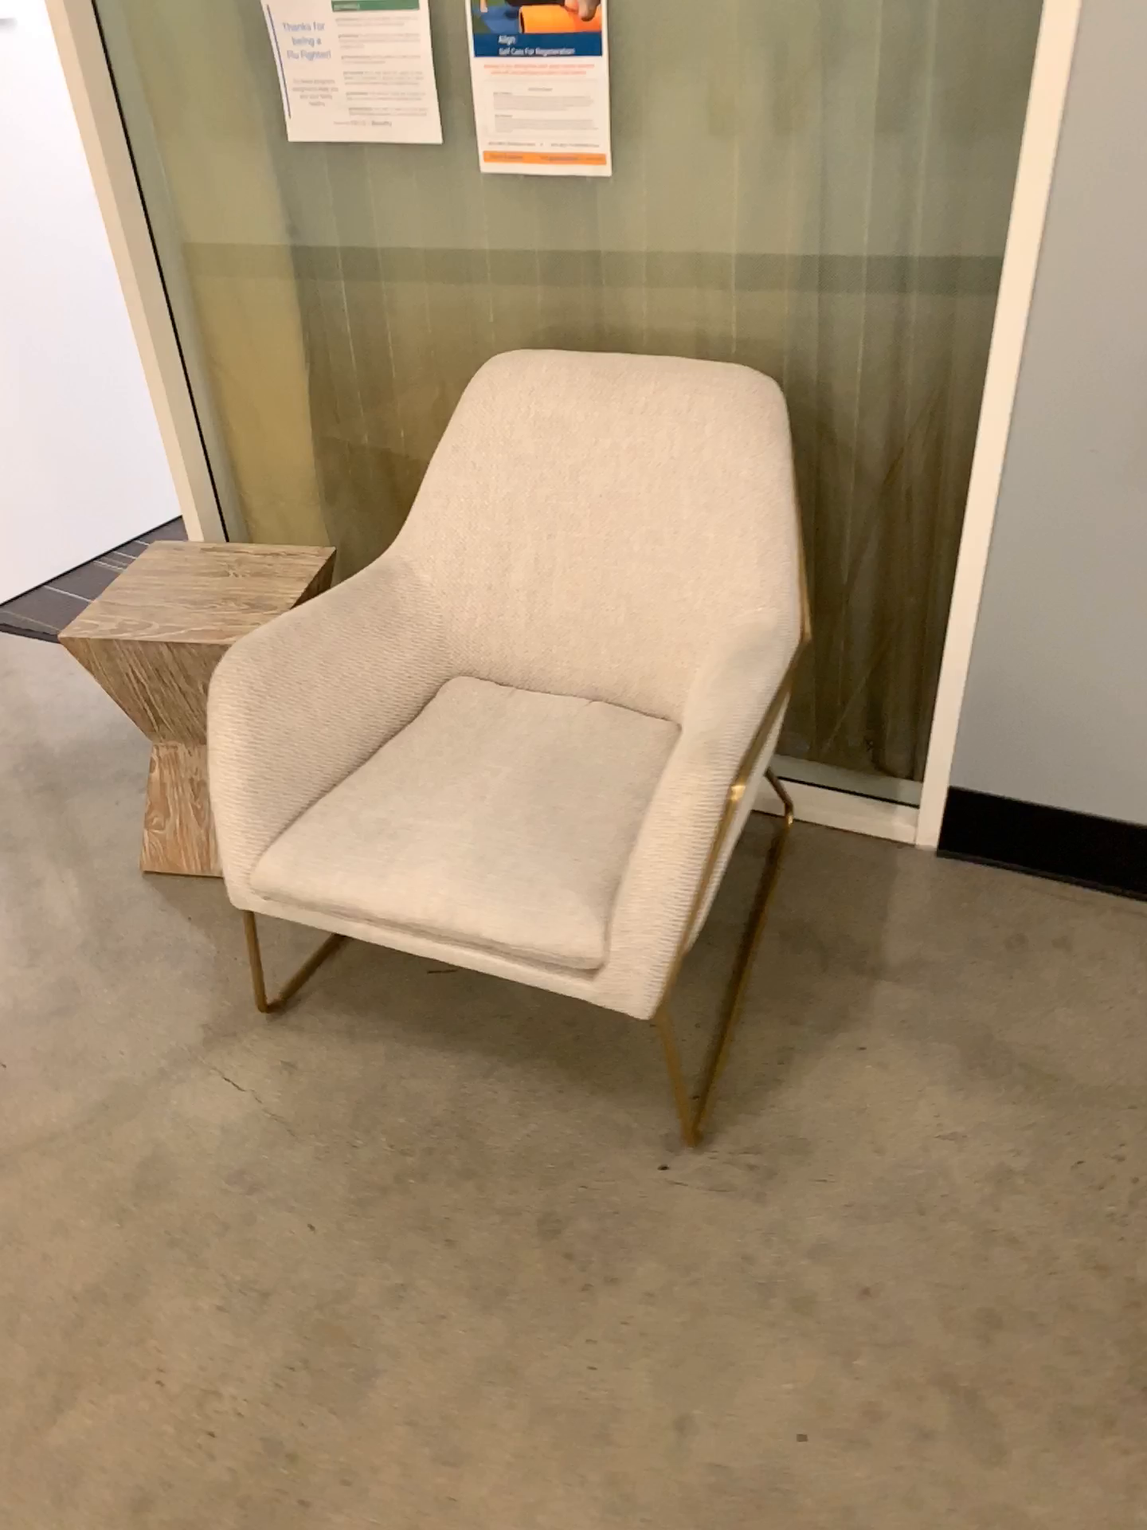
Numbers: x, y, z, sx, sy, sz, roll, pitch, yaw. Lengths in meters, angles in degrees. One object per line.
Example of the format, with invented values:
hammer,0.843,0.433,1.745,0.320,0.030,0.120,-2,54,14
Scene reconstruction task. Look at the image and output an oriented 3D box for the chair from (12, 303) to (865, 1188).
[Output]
chair,-0.083,-0.086,1.678,0.782,0.864,0.773,10,39,18
